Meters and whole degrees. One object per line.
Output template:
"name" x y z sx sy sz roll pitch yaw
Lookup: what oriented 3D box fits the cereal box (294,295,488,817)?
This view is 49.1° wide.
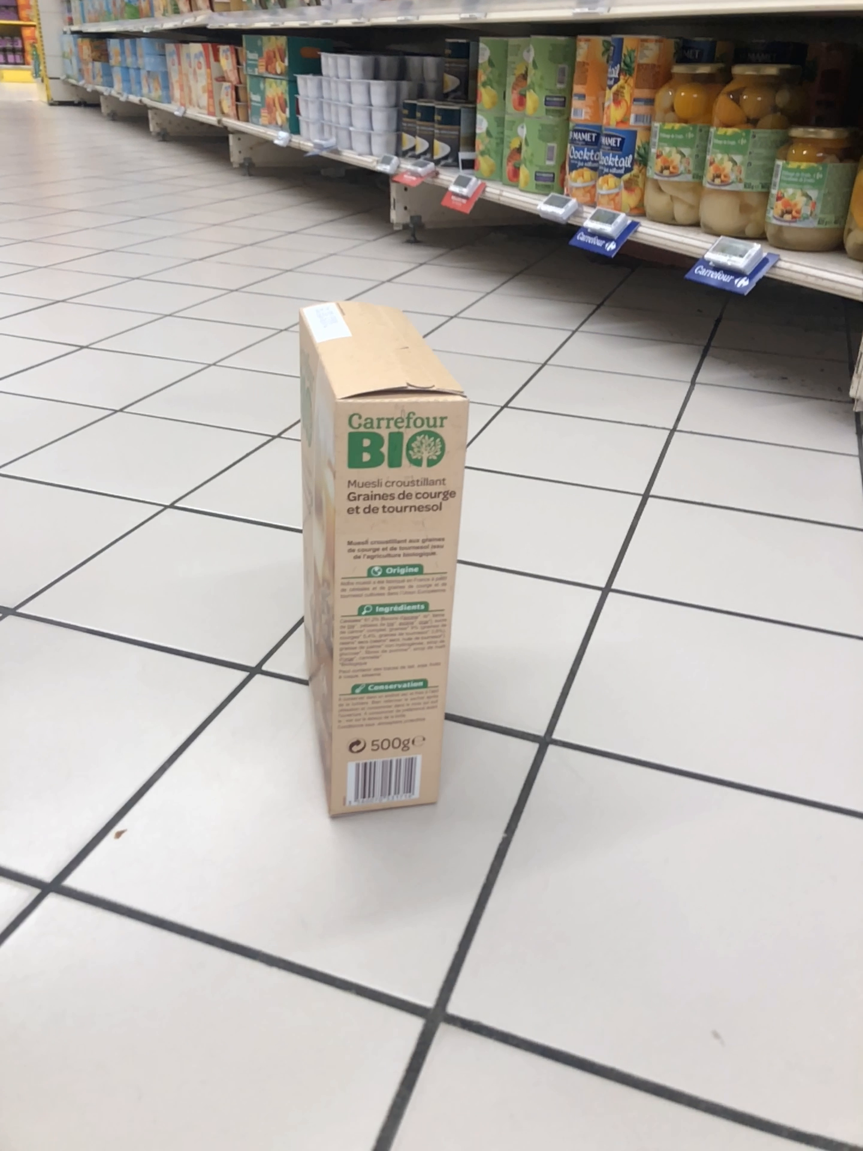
"cereal box" -0.032 -0.018 0.518 0.070 0.229 0.171 -3 28 -11
